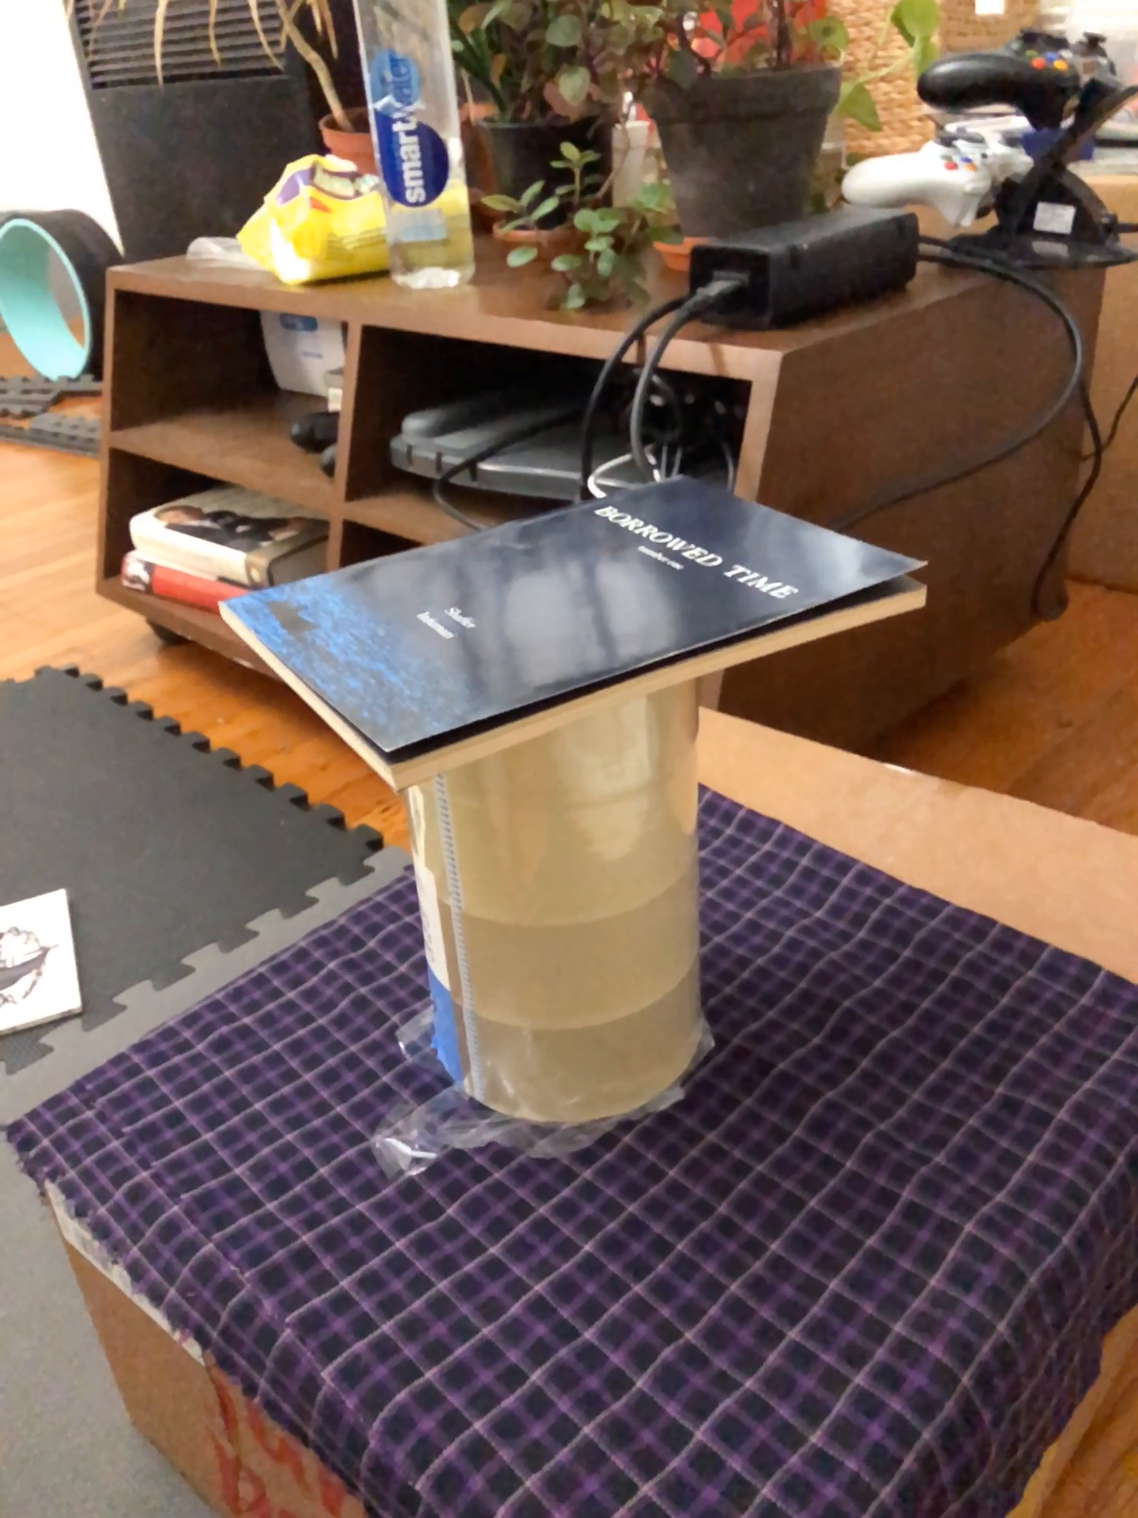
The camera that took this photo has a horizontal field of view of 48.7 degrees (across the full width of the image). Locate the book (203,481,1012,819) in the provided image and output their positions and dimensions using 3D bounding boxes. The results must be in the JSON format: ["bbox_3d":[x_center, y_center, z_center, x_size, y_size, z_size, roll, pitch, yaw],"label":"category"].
[{"bbox_3d":[0.011,-0.053,0.437,0.230,0.010,0.161,-18,33,-27],"label":"book"}]
